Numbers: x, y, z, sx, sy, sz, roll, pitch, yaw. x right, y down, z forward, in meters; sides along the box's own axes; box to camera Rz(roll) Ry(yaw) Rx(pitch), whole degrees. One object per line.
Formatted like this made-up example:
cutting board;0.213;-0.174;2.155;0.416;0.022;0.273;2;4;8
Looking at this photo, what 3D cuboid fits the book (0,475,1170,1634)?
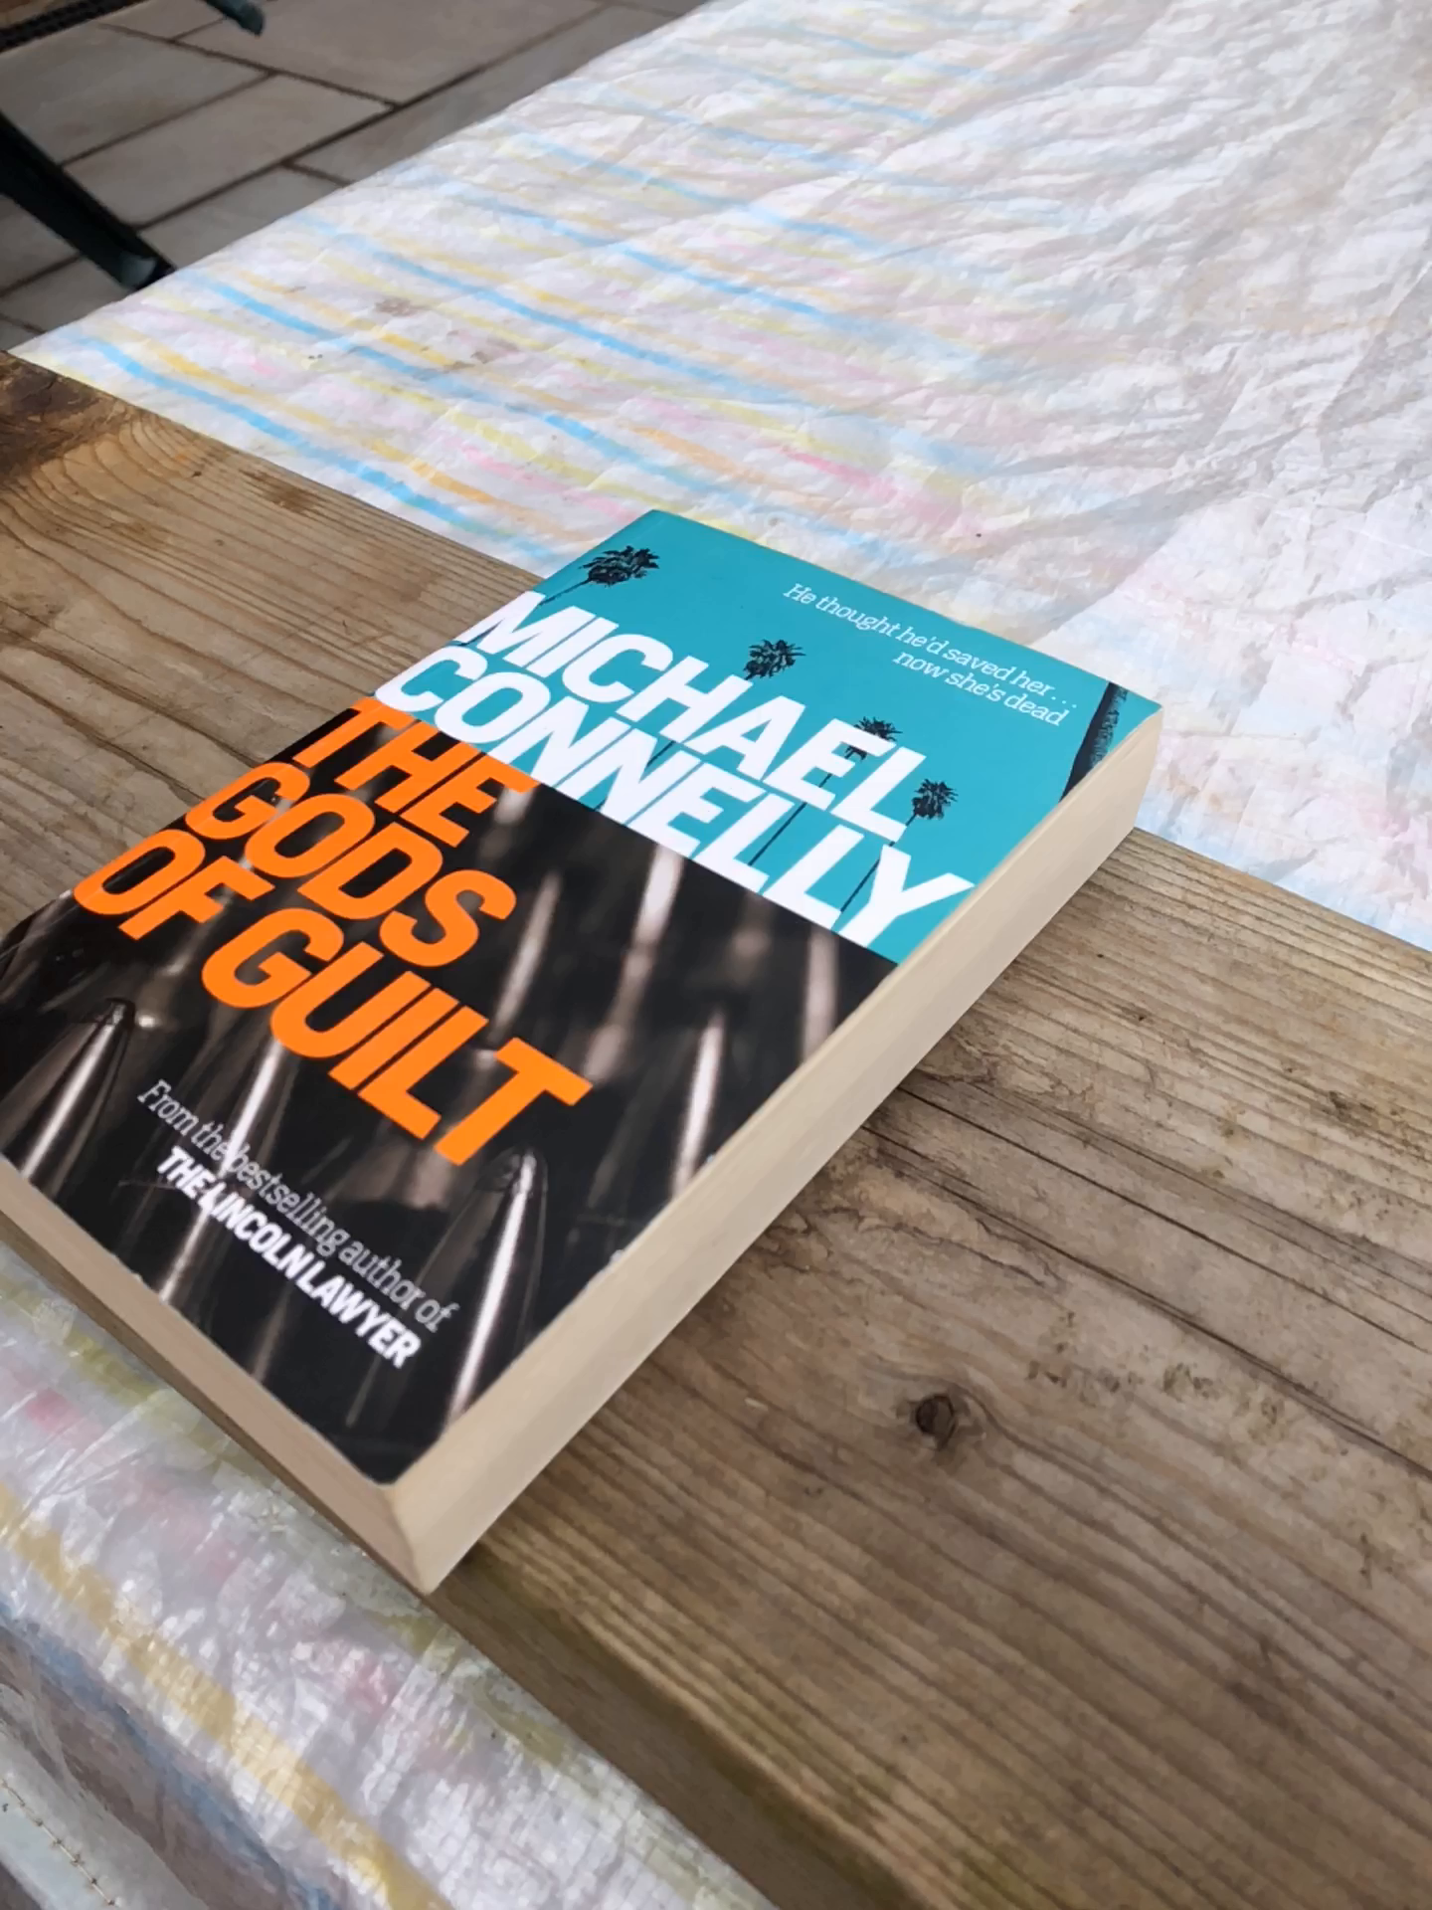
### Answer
book;-0.032;-0.008;0.289;0.140;0.040;0.201;29;53;28
